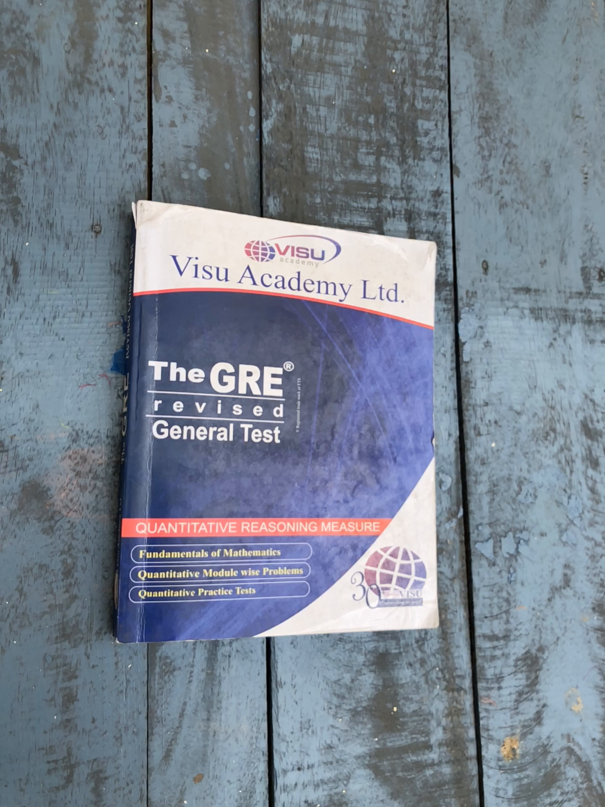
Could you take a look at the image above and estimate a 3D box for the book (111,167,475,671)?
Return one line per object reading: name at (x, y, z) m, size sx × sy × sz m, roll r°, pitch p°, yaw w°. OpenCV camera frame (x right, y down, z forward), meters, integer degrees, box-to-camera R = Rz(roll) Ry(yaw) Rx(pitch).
book at (-0.004, 0.011, 0.445) m, size 0.220 × 0.060 × 0.290 m, roll 3°, pitch 80°, yaw -17°
